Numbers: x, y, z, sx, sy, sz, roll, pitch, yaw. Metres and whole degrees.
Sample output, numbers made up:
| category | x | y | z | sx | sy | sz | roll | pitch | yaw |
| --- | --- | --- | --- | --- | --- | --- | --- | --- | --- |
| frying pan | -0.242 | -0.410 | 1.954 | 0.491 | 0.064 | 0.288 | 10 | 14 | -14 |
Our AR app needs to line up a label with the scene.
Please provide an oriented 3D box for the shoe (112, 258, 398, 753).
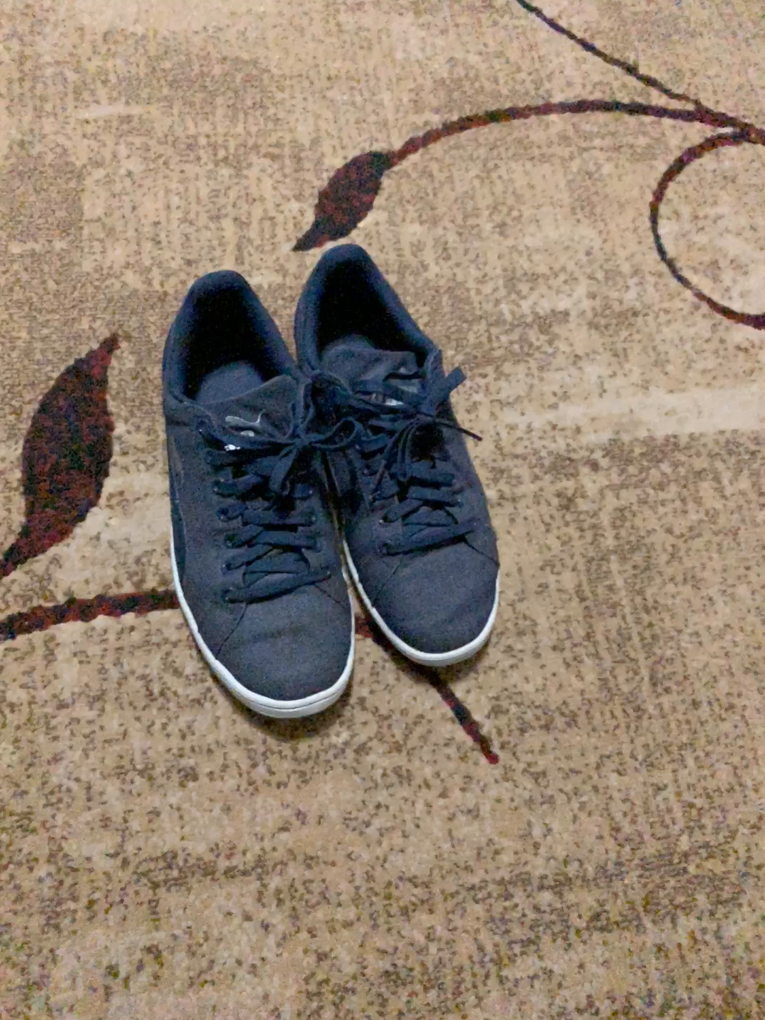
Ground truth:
| category | x | y | z | sx | sy | sz | roll | pitch | yaw |
| --- | --- | --- | --- | --- | --- | --- | --- | --- | --- |
| shoe | -0.084 | -0.008 | 0.483 | 0.106 | 0.090 | 0.275 | -11 | 70 | -13 |

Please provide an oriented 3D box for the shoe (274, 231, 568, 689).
| category | x | y | z | sx | sy | sz | roll | pitch | yaw |
| --- | --- | --- | --- | --- | --- | --- | --- | --- | --- |
| shoe | 0.013 | -0.041 | 0.489 | 0.099 | 0.050 | 0.275 | -12 | 70 | -13 |
